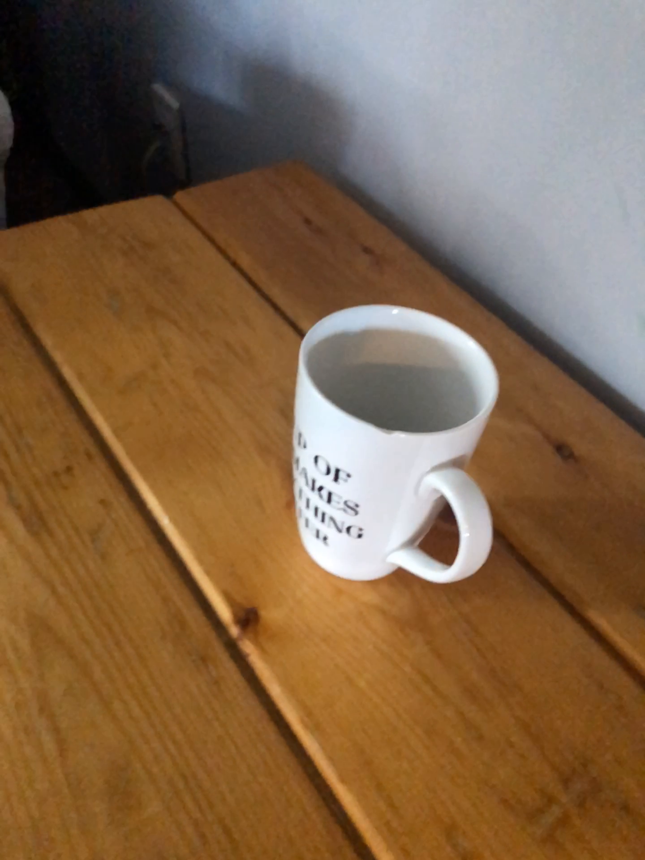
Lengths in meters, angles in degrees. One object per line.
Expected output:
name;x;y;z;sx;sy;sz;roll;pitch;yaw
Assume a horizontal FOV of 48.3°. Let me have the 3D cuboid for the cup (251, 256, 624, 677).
cup;0.038;0.013;0.349;0.100;0.120;0.140;-15;51;-20
